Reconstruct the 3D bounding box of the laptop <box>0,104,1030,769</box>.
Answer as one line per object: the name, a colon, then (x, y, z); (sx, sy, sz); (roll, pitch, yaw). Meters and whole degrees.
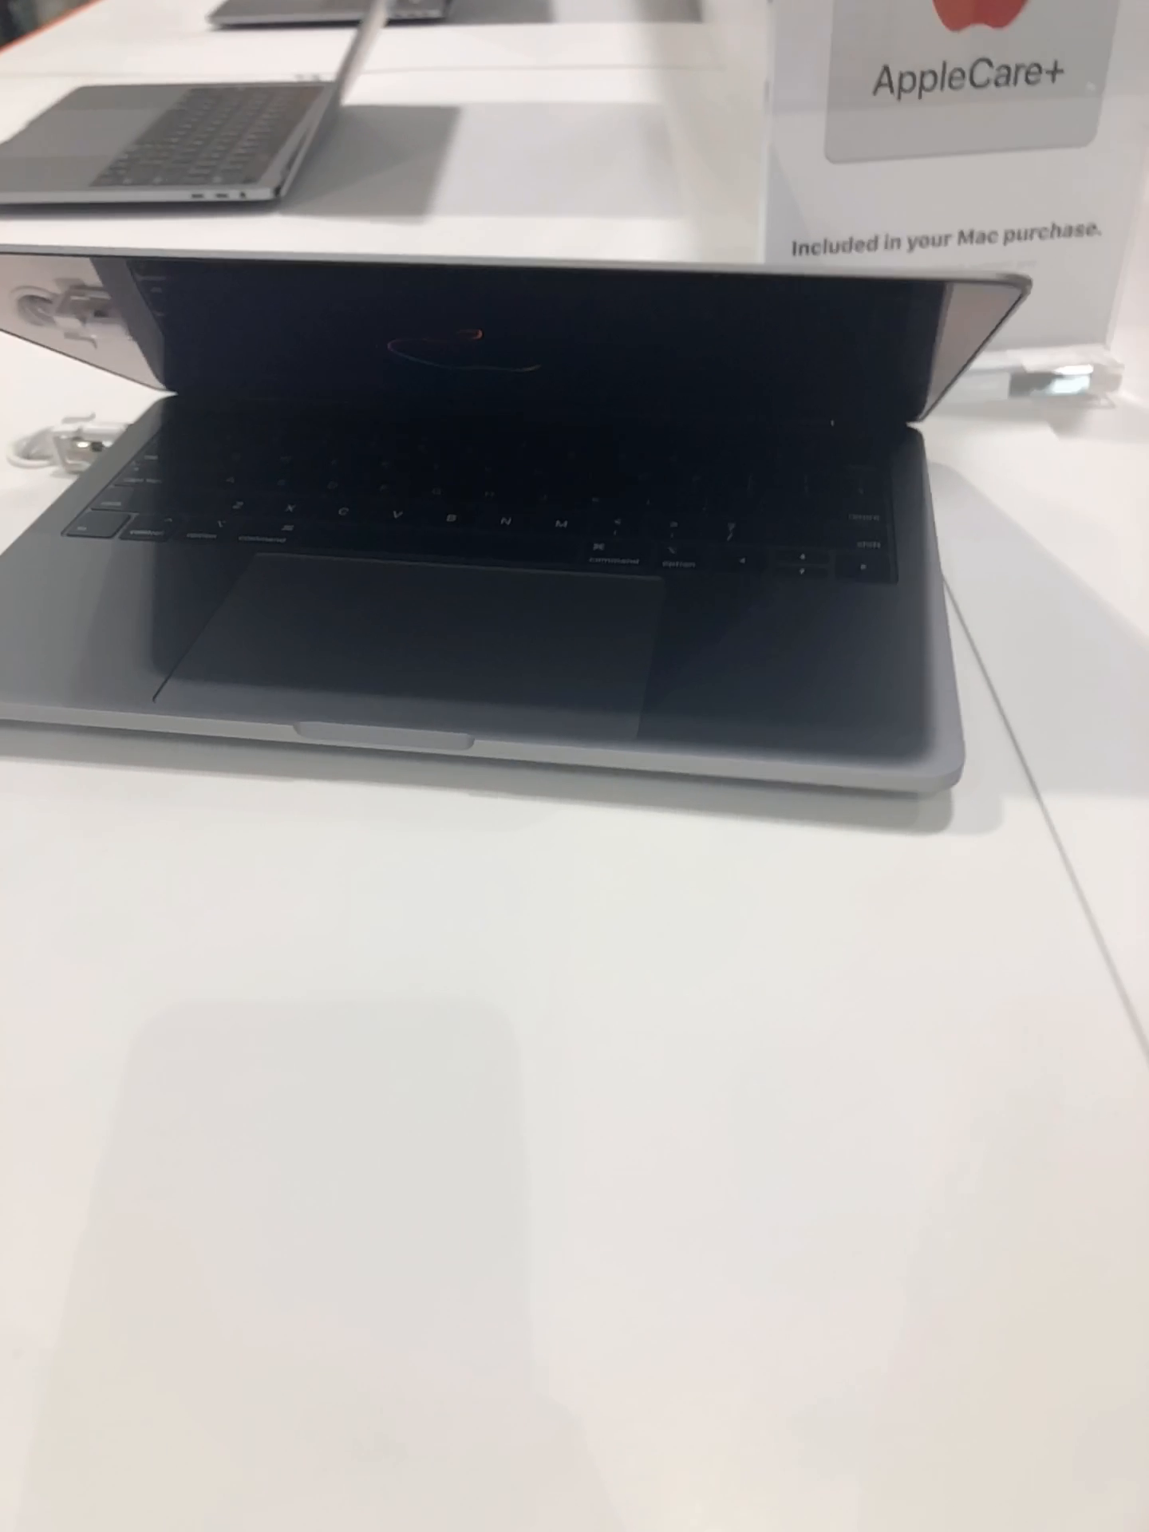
laptop: (-0.034, -0.118, 0.391); (0.294, 0.109, 0.205); (5, 39, 8)
